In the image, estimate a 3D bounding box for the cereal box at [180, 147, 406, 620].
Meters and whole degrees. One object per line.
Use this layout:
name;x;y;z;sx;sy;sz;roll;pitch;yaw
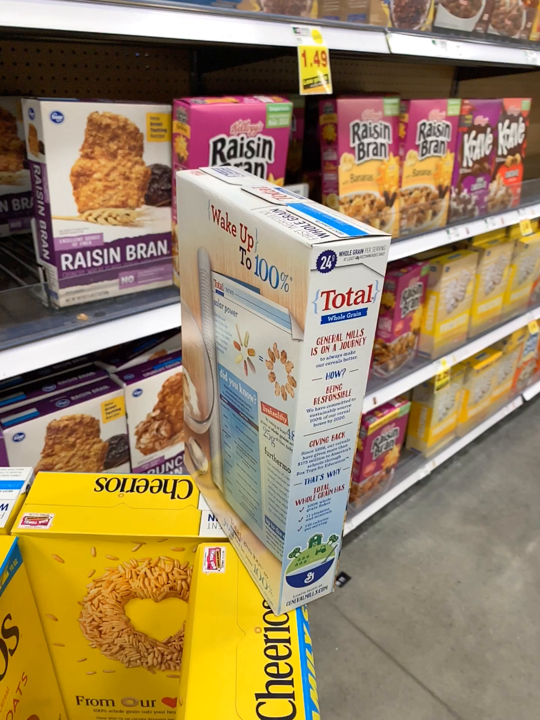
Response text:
cereal box;-0.009;0.010;0.434;0.050;0.298;0.211;-11;32;-26
